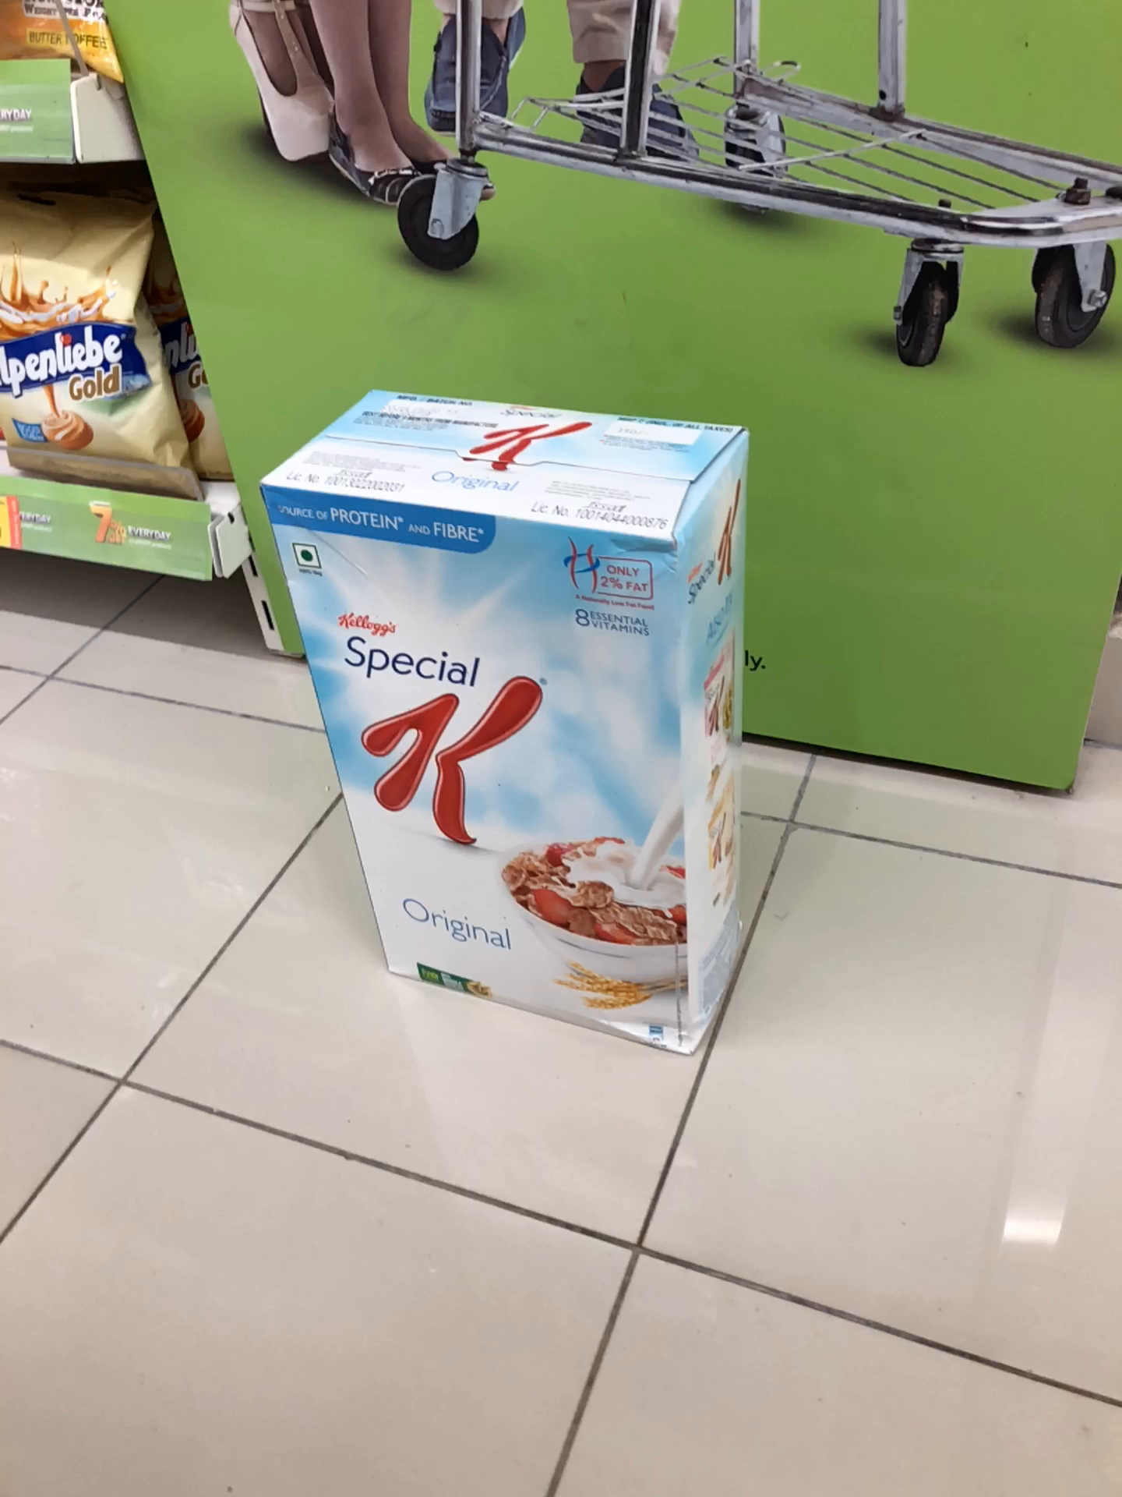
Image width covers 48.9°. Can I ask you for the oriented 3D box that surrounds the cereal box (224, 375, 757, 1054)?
[{"bbox_3d":[-0.017,-0.009,0.613,0.200,0.308,0.101,11,42,20],"label":"cereal box"}]
